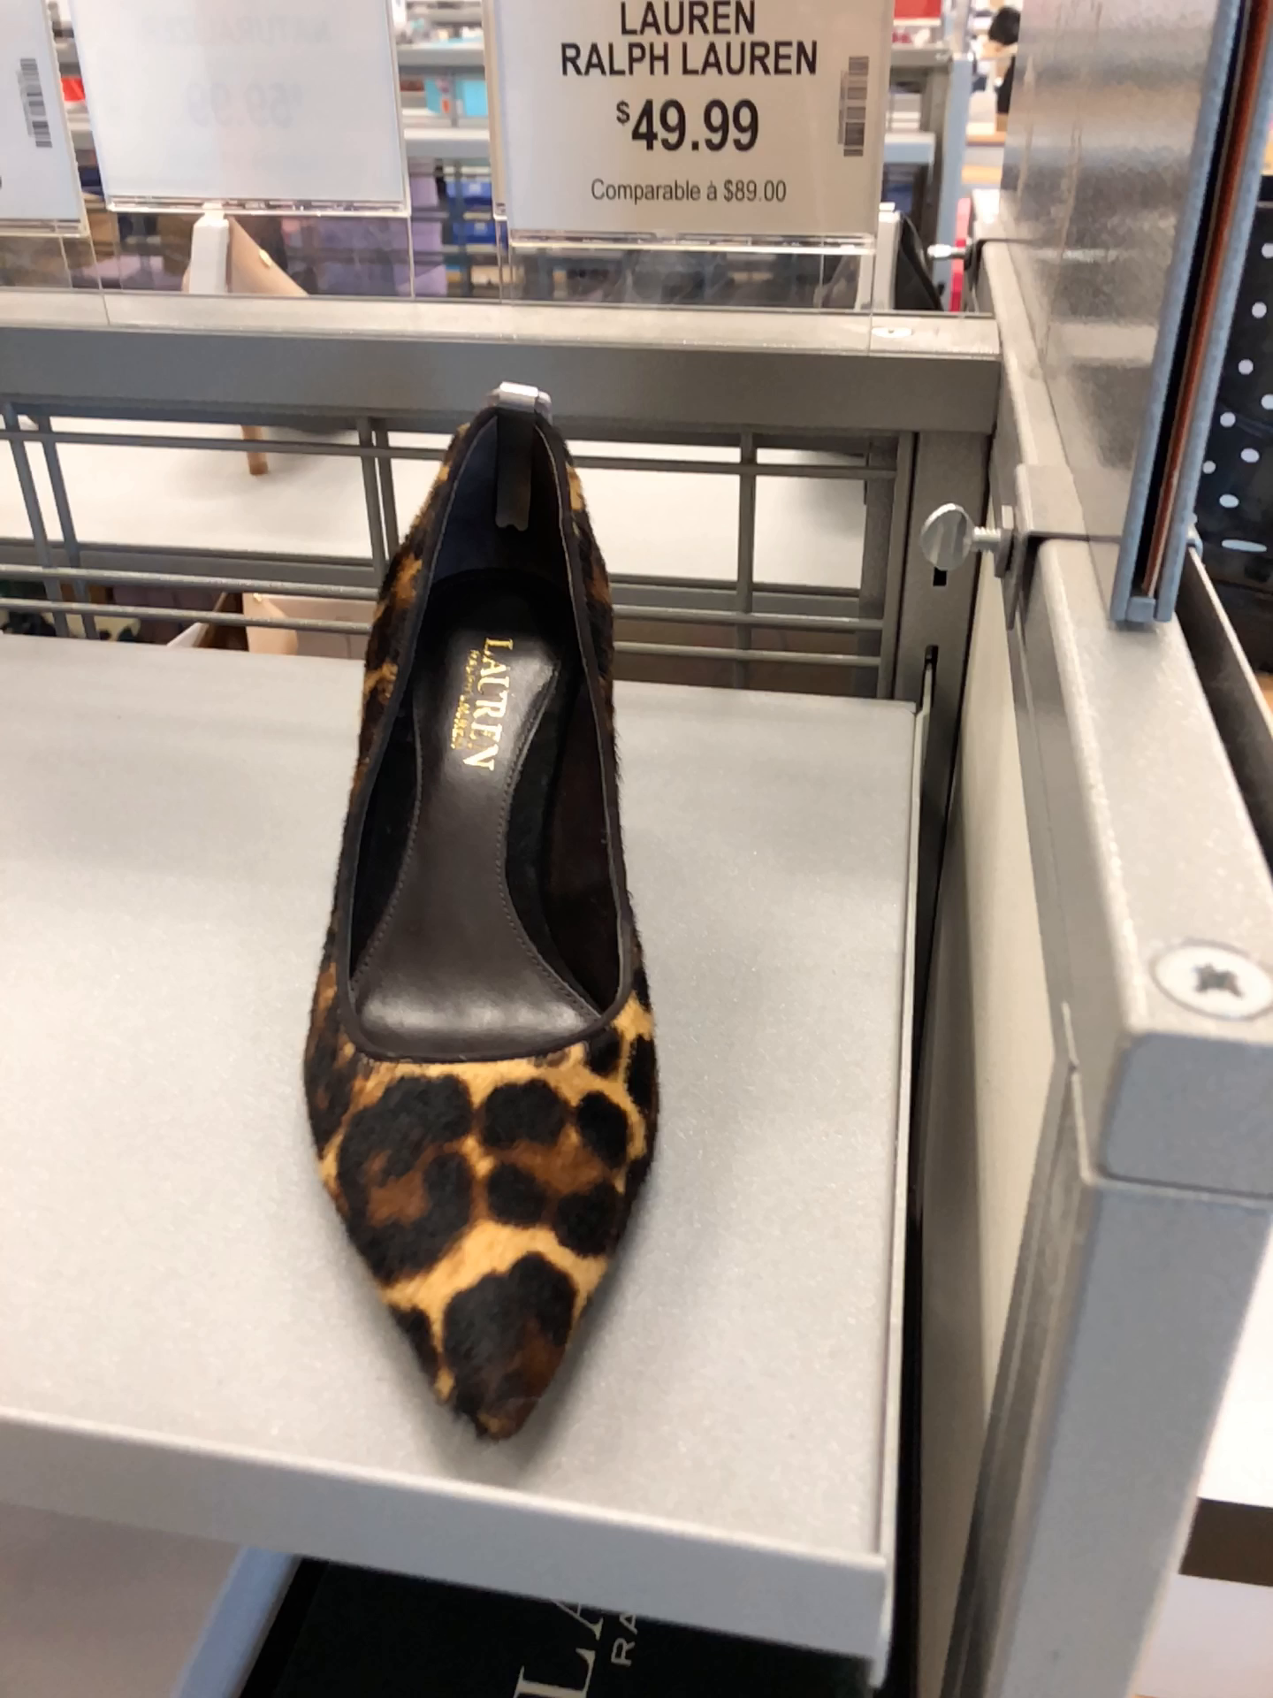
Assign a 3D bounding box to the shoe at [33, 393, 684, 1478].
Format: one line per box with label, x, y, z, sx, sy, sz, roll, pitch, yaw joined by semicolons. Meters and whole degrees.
shoe;-0.040;-0.011;0.343;0.090;0.129;0.272;-1;32;-1
